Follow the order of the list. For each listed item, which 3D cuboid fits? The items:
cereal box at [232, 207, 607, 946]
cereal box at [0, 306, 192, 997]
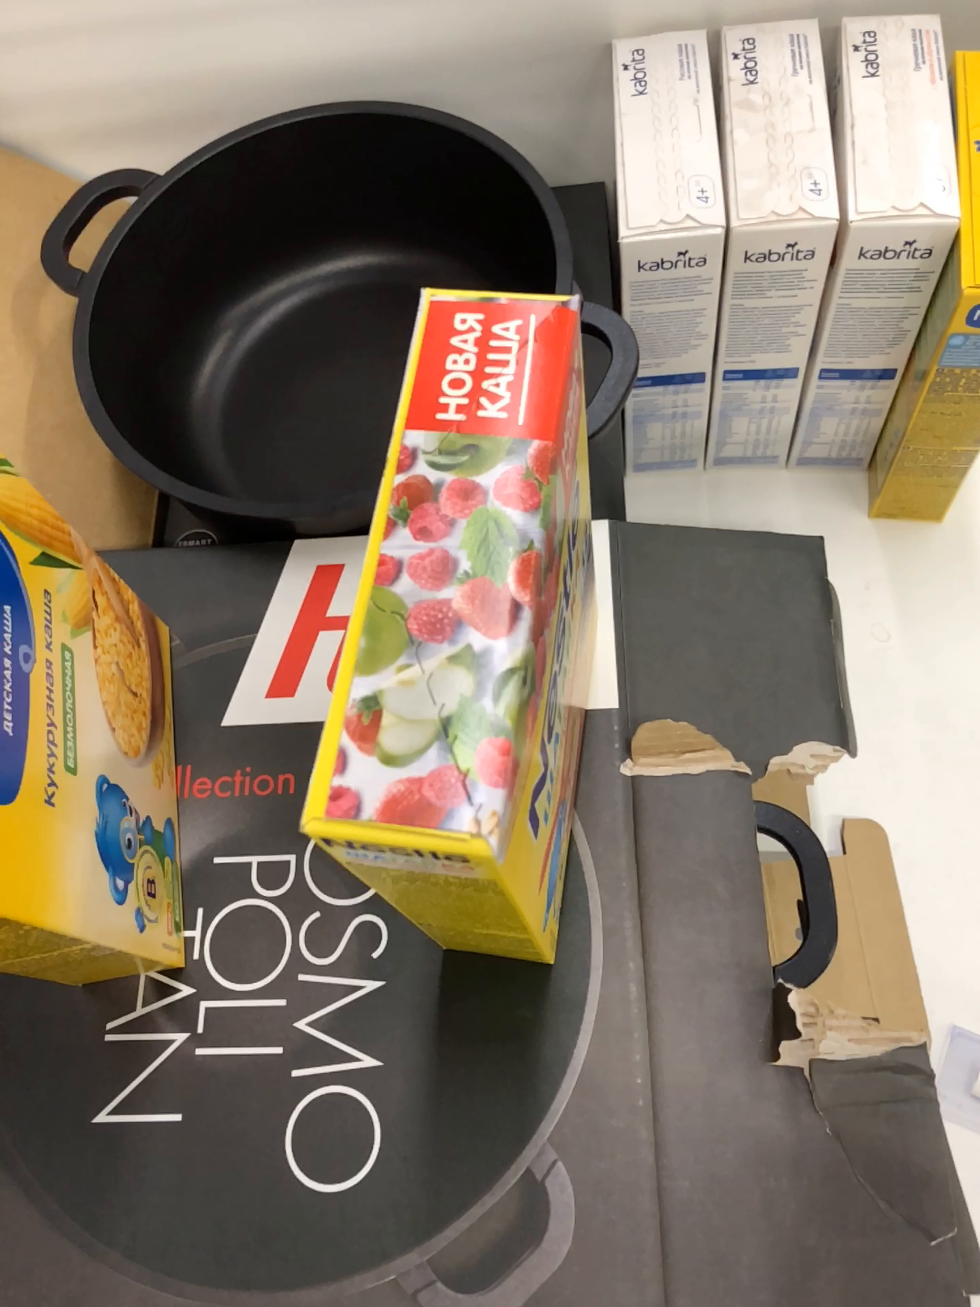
[{"bbox_3d":[-0.003,-0.004,0.344,0.050,0.200,0.160,7,70,11],"label":"cereal box"},{"bbox_3d":[-0.164,0.019,0.357,0.050,0.200,0.160,-11,68,3],"label":"cereal box"}]
